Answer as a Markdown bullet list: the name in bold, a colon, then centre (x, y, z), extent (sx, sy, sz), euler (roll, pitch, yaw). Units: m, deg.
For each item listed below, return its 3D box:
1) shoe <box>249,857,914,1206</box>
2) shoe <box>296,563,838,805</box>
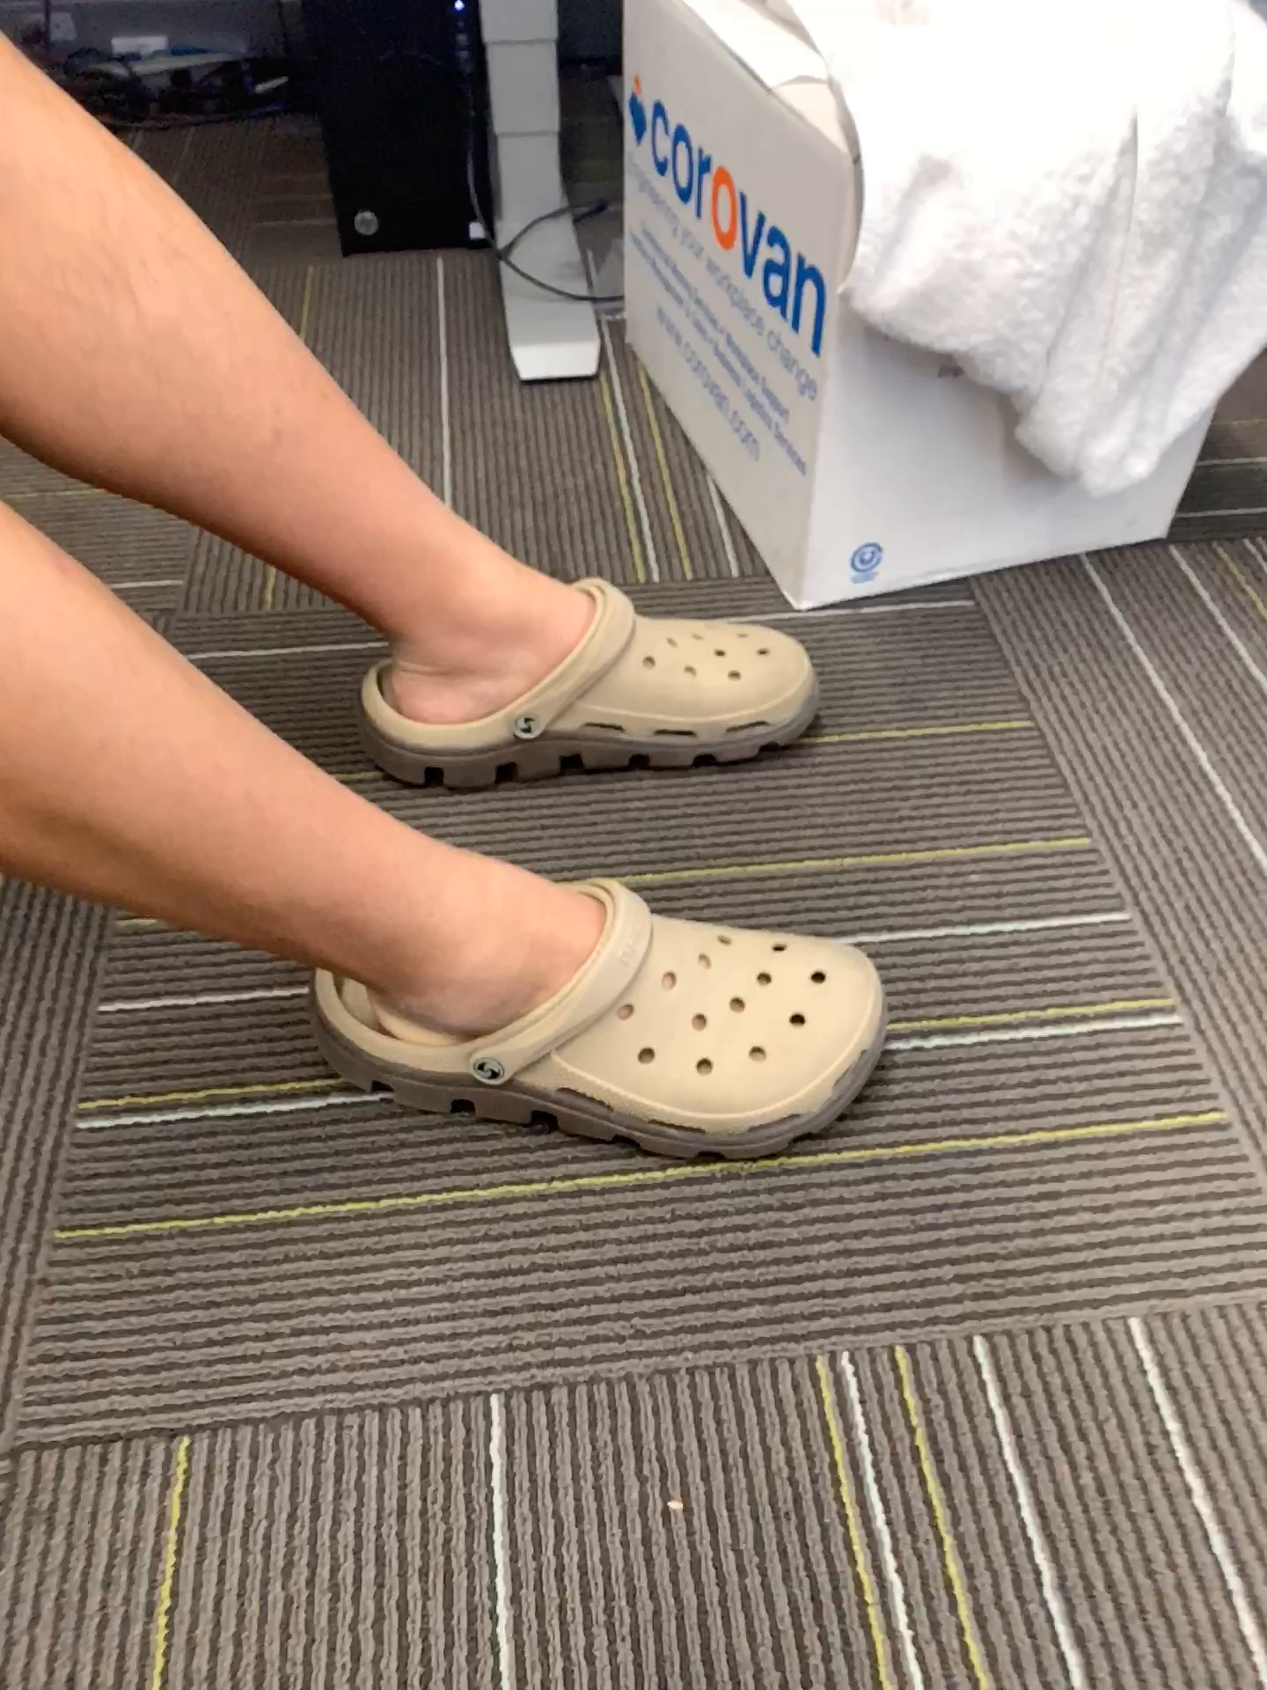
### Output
- **shoe**: centre (-0.020, 0.095, 0.697), extent (0.321, 0.080, 0.135), euler (5, 47, 5)
- **shoe**: centre (-0.042, -0.109, 0.872), extent (0.330, 0.079, 0.141), euler (-2, 47, -1)
